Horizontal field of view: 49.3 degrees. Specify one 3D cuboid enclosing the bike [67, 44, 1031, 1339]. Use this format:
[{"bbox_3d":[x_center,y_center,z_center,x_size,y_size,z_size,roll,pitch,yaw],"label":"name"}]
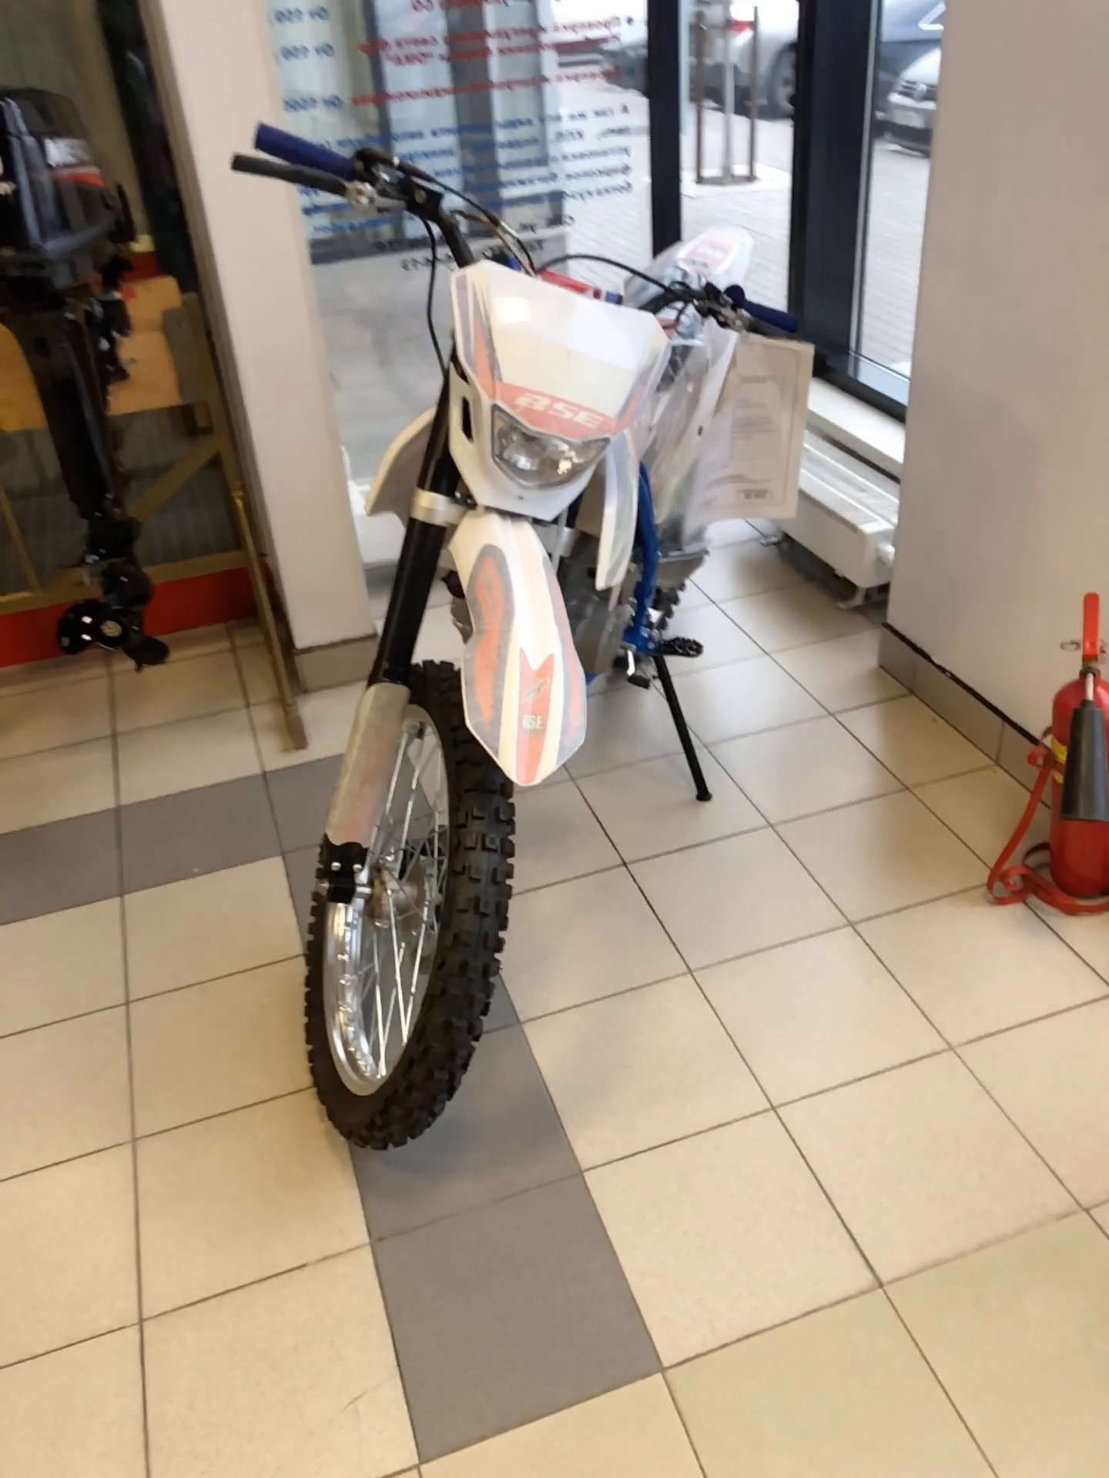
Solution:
[{"bbox_3d":[0.207,-0.348,2.046,0.842,1.219,1.855,5,35,15],"label":"bike"}]
